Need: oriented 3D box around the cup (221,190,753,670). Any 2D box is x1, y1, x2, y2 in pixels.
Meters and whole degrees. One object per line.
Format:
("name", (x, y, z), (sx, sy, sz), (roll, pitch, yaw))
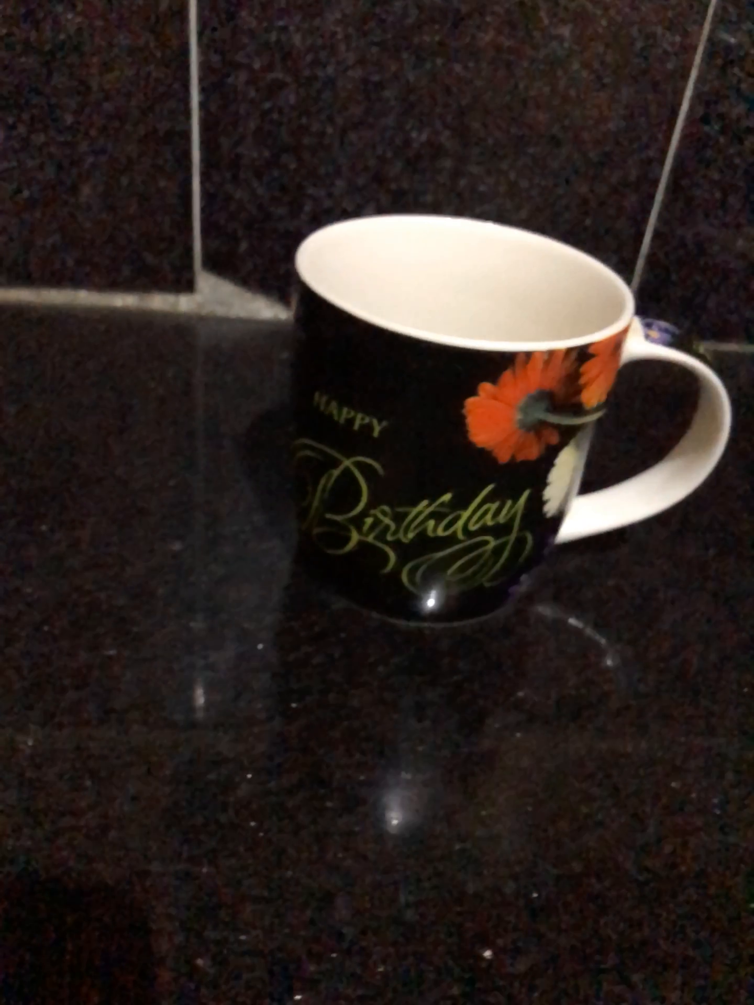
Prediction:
("cup", (0.028, -0.022, 0.239), (0.130, 0.089, 0.091), (5, 36, -5))
